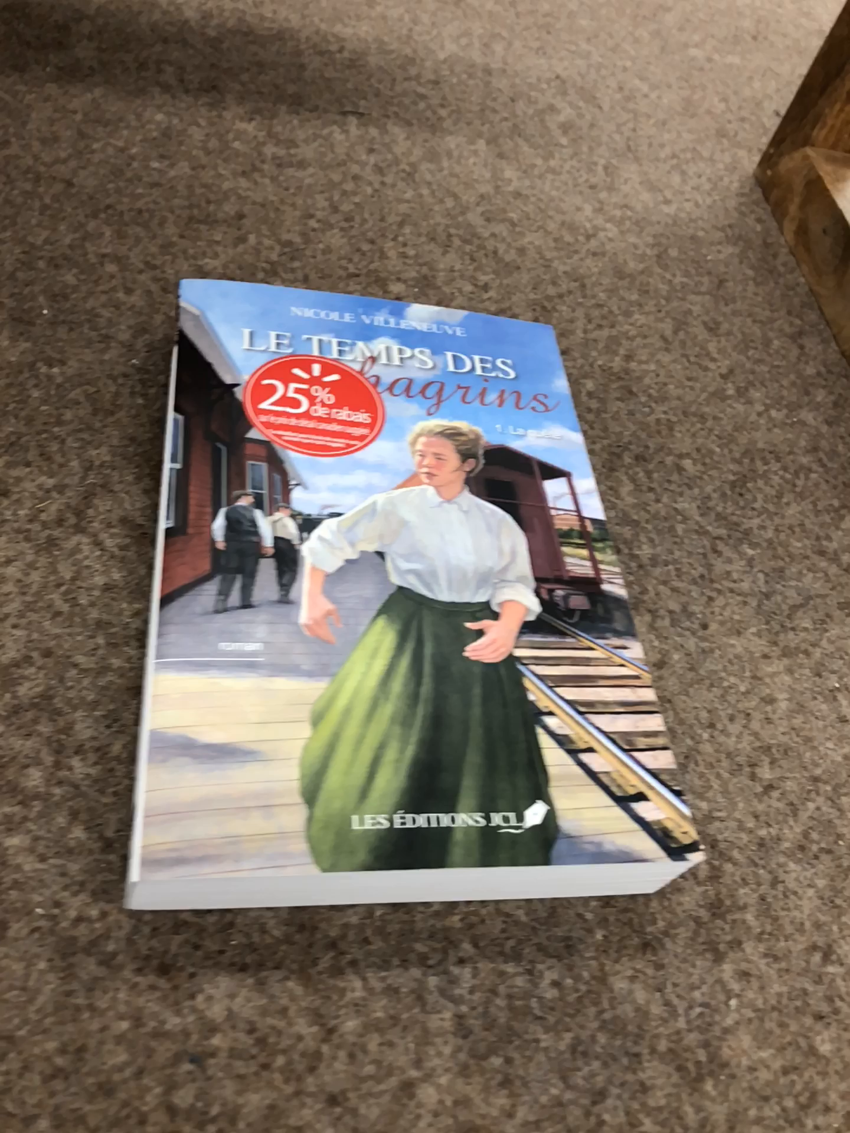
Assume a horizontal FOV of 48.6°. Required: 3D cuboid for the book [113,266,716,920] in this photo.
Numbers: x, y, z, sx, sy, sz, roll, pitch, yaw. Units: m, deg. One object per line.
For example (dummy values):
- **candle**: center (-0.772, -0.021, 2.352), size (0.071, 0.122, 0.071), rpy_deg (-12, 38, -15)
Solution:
- **book**: center (-0.011, -0.006, 0.311), size (0.155, 0.030, 0.225), rpy_deg (3, 54, -14)
